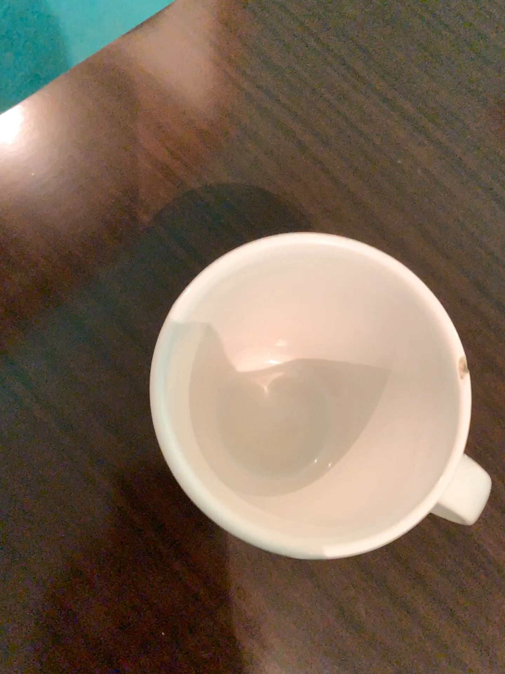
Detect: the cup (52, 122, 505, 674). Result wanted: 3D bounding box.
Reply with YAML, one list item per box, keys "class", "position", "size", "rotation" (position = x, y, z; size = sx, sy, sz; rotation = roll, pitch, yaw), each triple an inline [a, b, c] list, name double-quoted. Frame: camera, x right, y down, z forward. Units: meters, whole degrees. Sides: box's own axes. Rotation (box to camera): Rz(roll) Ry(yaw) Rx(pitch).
- class: "cup"
  position: [0.023, 0.019, 0.160]
  size: [0.110, 0.080, 0.090]
  rotation: [29, 74, 1]
